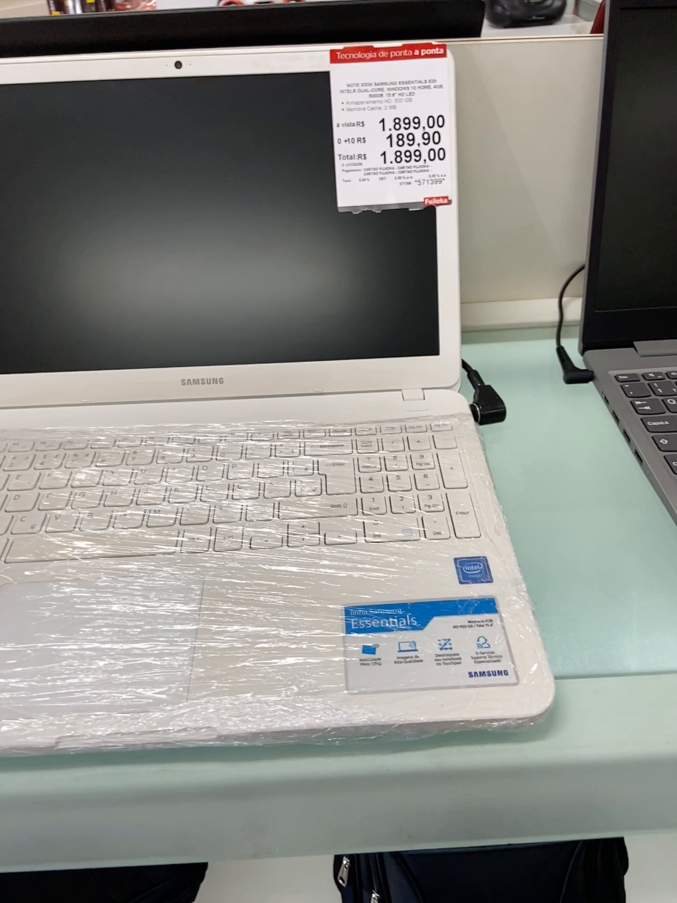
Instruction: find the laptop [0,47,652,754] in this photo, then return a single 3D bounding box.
[{"bbox_3d":[-0.100,-0.073,0.400,0.375,0.192,0.383,-3,41,-1],"label":"laptop"}]
